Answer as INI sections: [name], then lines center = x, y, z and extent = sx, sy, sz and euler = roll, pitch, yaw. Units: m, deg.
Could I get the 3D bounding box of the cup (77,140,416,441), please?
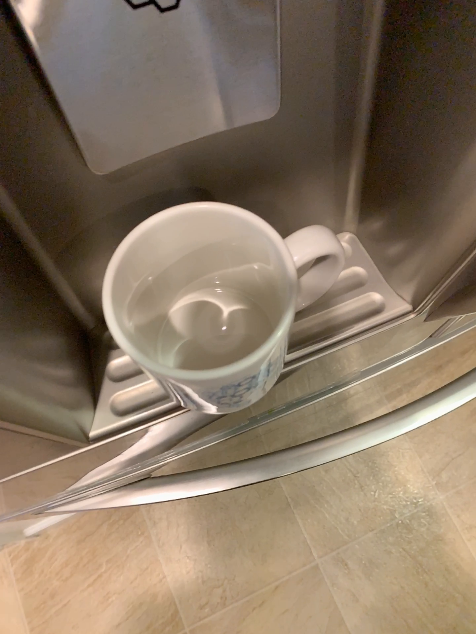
[cup]
center = 0.004, -0.006, 0.255
extent = 0.120, 0.100, 0.080
euler = -27, 72, -8
